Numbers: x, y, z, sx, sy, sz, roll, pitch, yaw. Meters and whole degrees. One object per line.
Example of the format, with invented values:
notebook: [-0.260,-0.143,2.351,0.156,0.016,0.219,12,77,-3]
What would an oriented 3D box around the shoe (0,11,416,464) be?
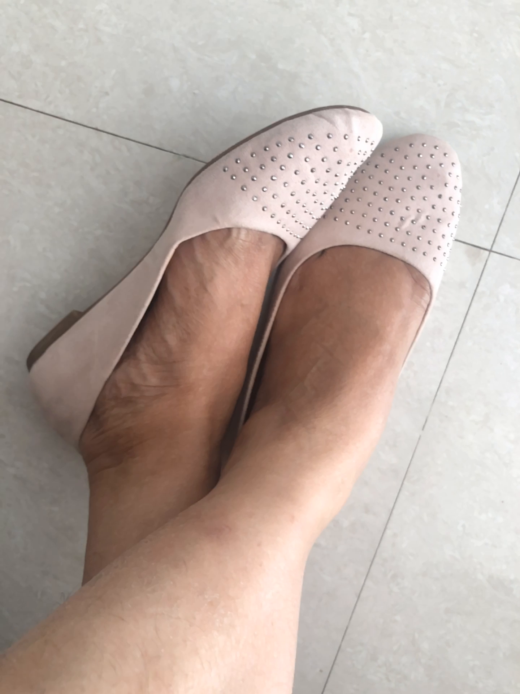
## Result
shoe: [-0.032,-0.041,0.320,0.240,0.090,0.060,-48,61,13]

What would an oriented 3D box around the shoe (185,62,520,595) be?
shoe: [0.054,-0.004,0.348,0.100,0.080,0.270,21,101,-4]
